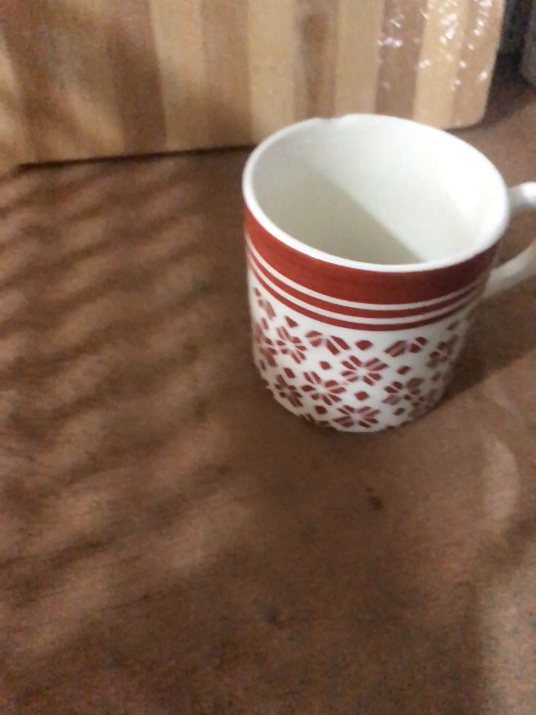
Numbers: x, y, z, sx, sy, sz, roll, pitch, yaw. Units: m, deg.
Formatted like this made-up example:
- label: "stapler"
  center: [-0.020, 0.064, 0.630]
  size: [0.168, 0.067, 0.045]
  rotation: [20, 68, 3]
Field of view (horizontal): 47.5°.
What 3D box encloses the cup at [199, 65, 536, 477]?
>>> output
- label: "cup"
  center: [0.036, -0.026, 0.175]
  size: [0.090, 0.070, 0.070]
  rotation: [-16, 53, -12]
